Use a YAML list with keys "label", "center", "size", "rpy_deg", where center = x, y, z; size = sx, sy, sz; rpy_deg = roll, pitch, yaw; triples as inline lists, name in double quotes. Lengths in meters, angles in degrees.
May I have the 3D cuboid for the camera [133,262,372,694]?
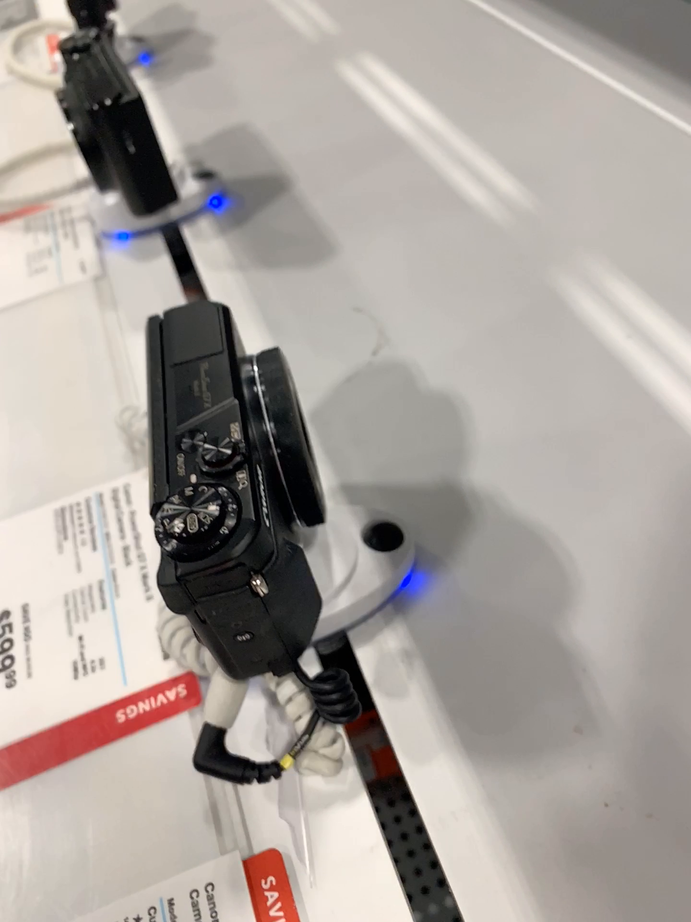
- label: "camera"
  center: [-0.030, 0.001, 0.220]
  size: [0.044, 0.060, 0.110]
  rpy_deg: [-16, 50, -1]
